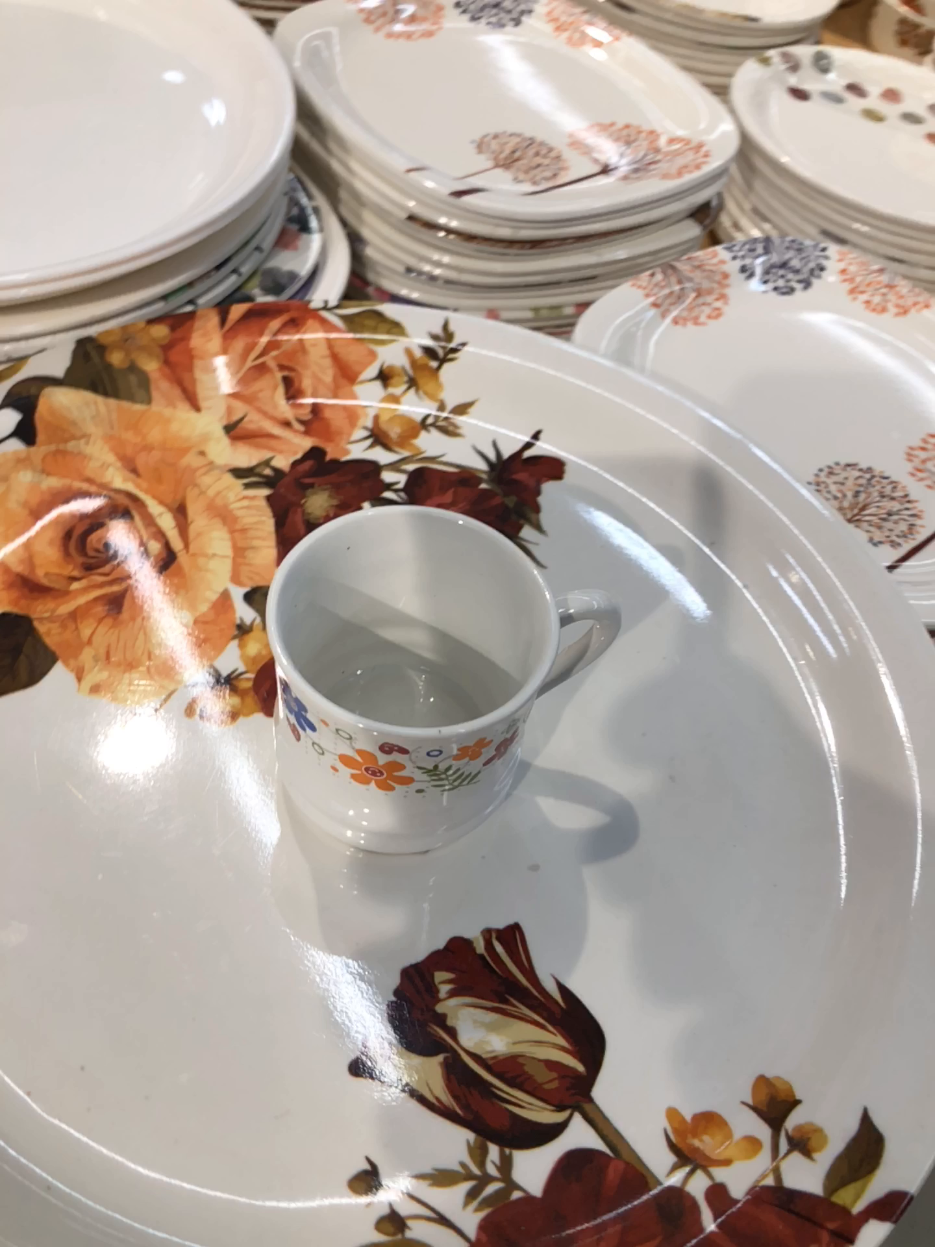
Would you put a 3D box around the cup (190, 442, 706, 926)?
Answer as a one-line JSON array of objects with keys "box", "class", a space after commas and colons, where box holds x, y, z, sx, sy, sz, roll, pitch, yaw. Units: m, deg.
[{"box": [-0.011, 0.015, 0.269, 0.100, 0.079, 0.070, -14, 58, -21], "class": "cup"}]
